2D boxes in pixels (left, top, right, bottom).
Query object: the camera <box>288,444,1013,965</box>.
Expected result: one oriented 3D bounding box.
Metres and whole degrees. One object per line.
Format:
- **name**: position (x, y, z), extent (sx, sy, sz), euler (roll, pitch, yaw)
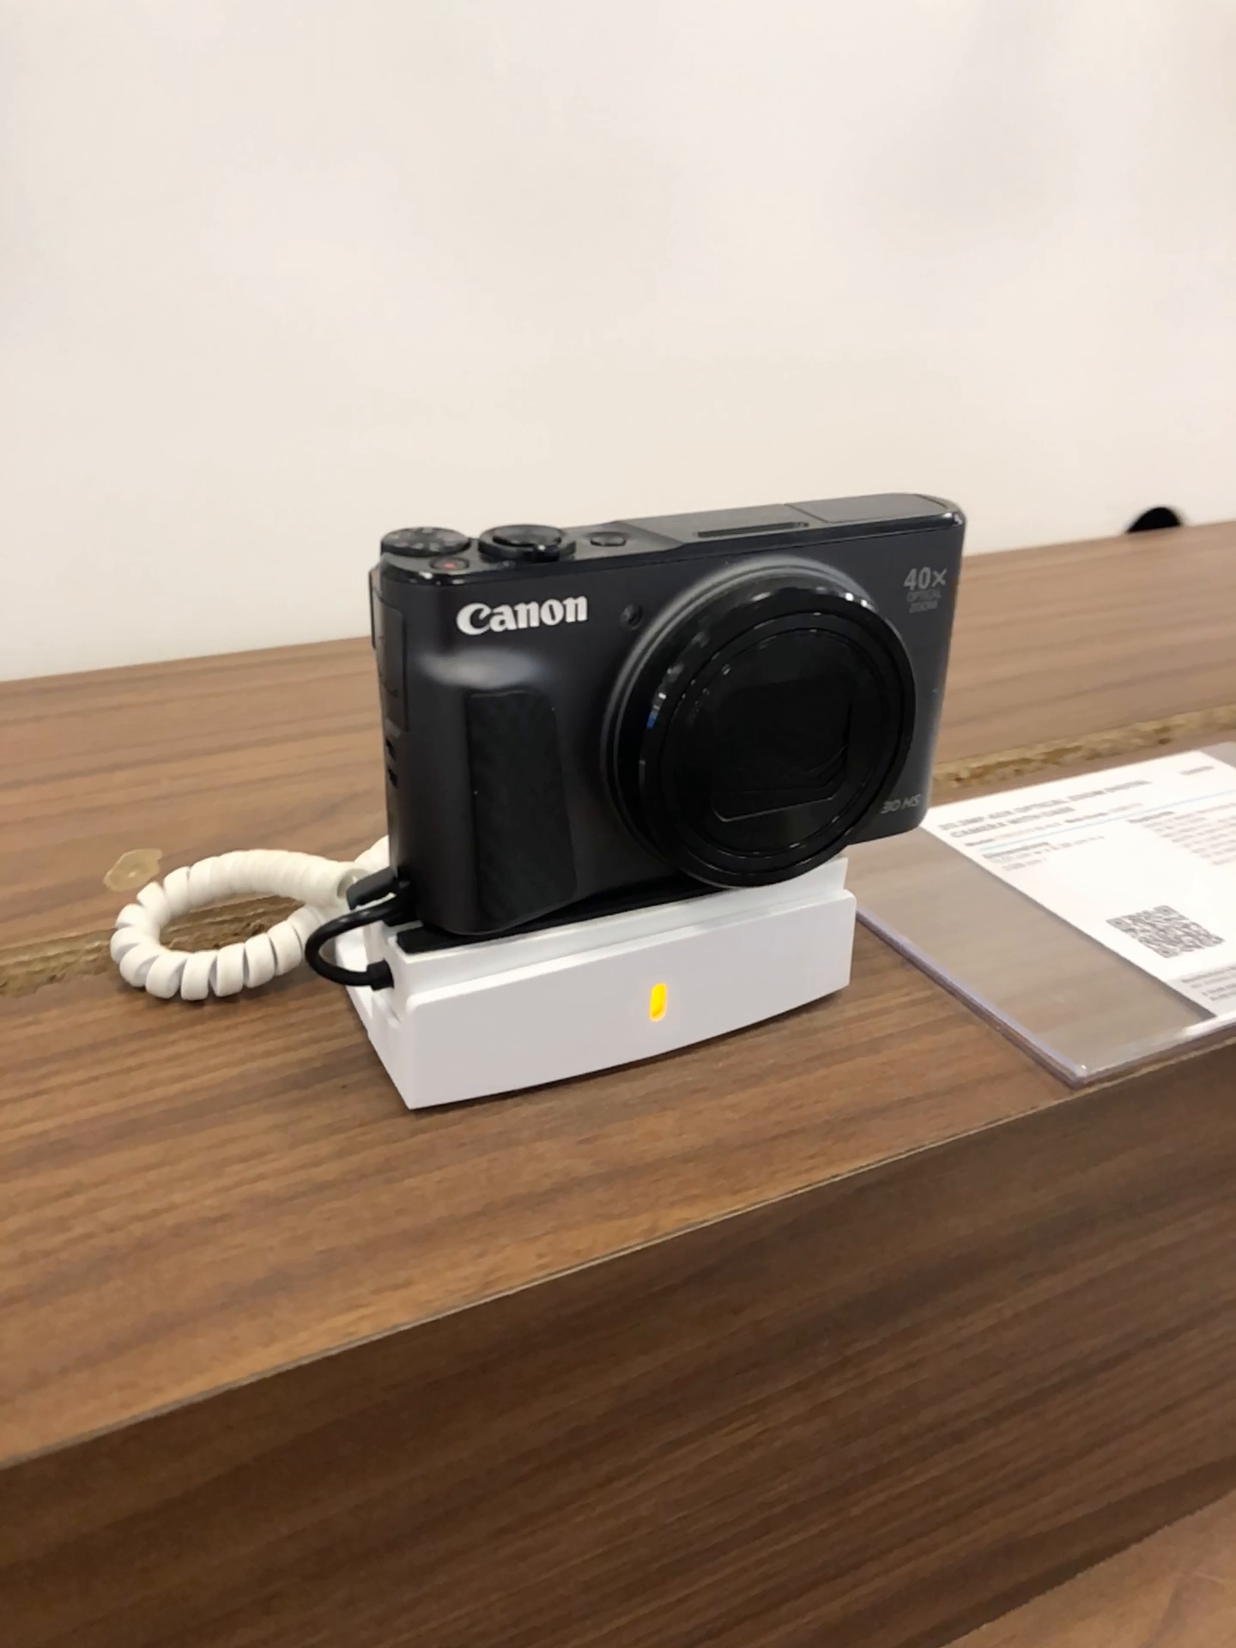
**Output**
- **camera**: position (0.008, -0.025, 0.244), extent (0.120, 0.070, 0.030), euler (-11, 27, -24)
